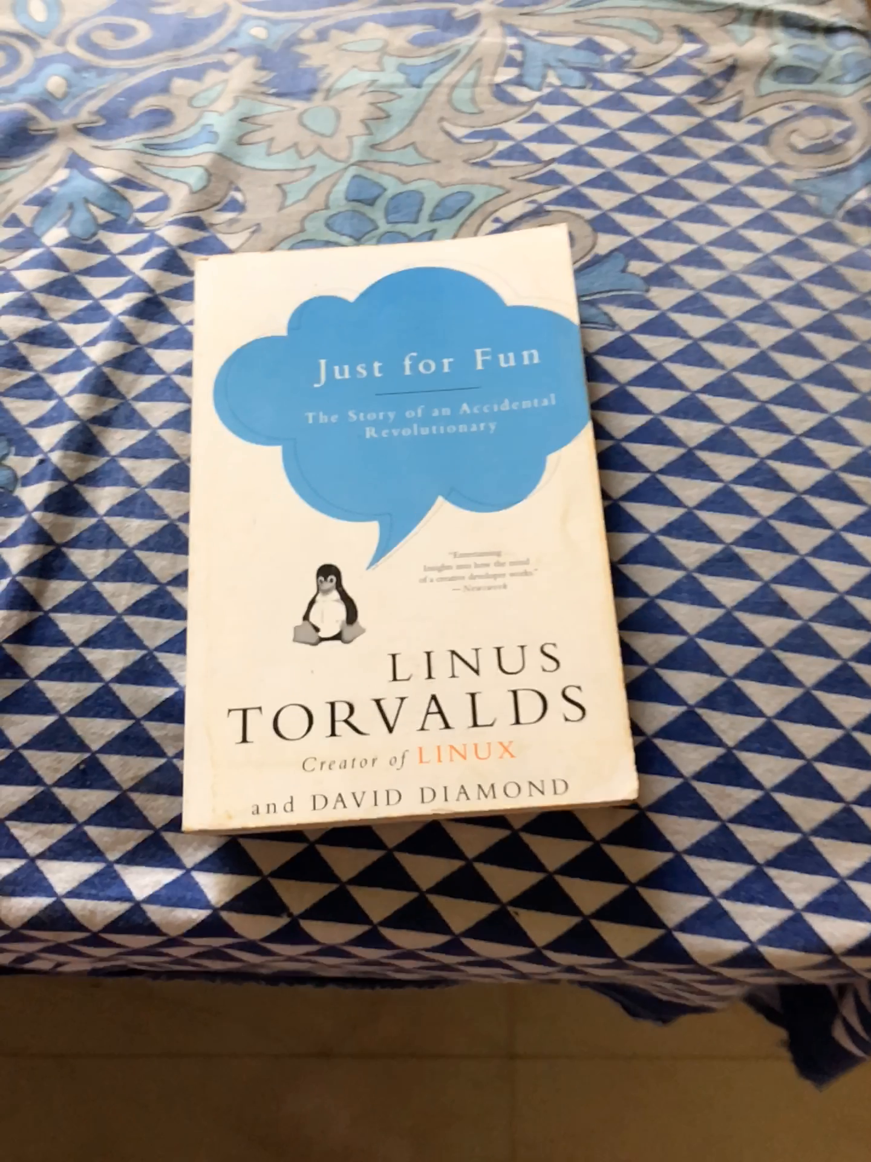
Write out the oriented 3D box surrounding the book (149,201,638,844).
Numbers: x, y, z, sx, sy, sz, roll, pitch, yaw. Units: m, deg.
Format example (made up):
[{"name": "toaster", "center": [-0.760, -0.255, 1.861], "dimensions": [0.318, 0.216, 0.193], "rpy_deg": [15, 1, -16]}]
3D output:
[{"name": "book", "center": [-0.018, -0.026, 0.327], "dimensions": [0.140, 0.030, 0.210], "rpy_deg": [-4, 71, 1]}]
